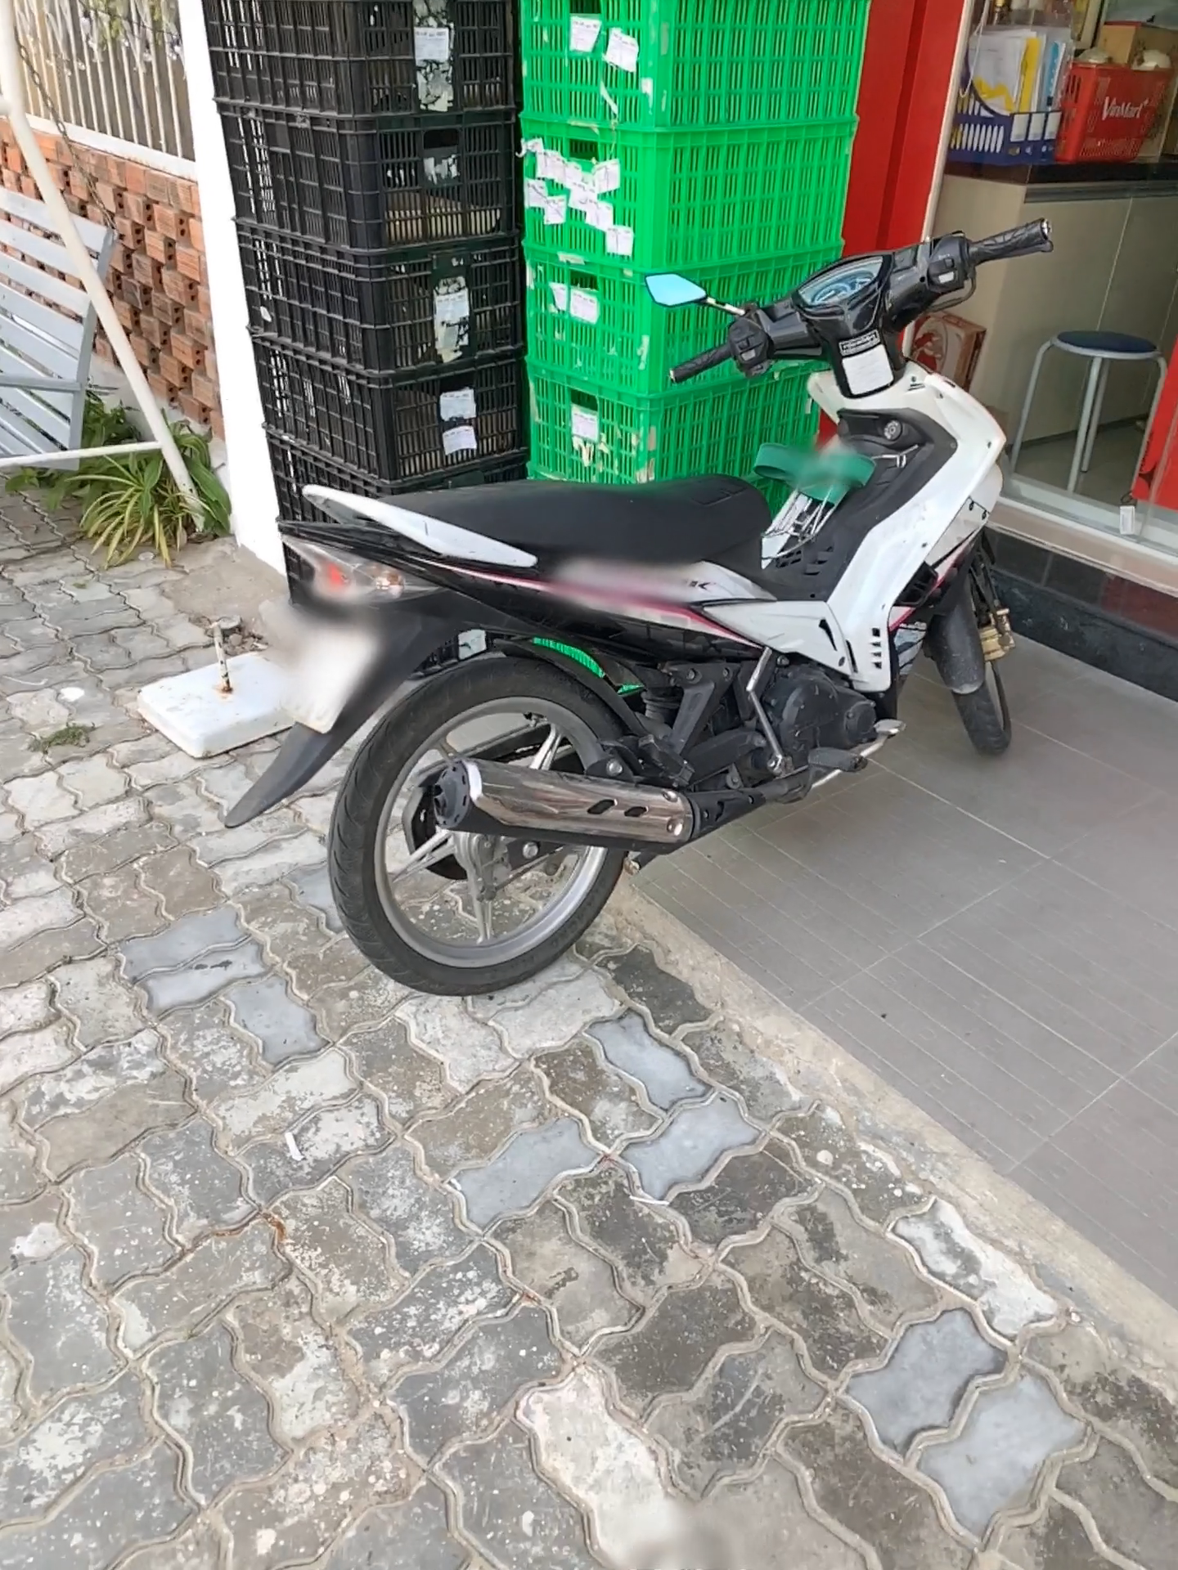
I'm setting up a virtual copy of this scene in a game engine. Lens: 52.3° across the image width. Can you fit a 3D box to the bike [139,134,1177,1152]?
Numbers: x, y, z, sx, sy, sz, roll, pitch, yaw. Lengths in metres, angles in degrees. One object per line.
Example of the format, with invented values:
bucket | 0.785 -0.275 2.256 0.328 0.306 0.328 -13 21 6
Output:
bike | 0.237 -0.450 2.236 1.818 1.186 0.669 -28 43 -37
